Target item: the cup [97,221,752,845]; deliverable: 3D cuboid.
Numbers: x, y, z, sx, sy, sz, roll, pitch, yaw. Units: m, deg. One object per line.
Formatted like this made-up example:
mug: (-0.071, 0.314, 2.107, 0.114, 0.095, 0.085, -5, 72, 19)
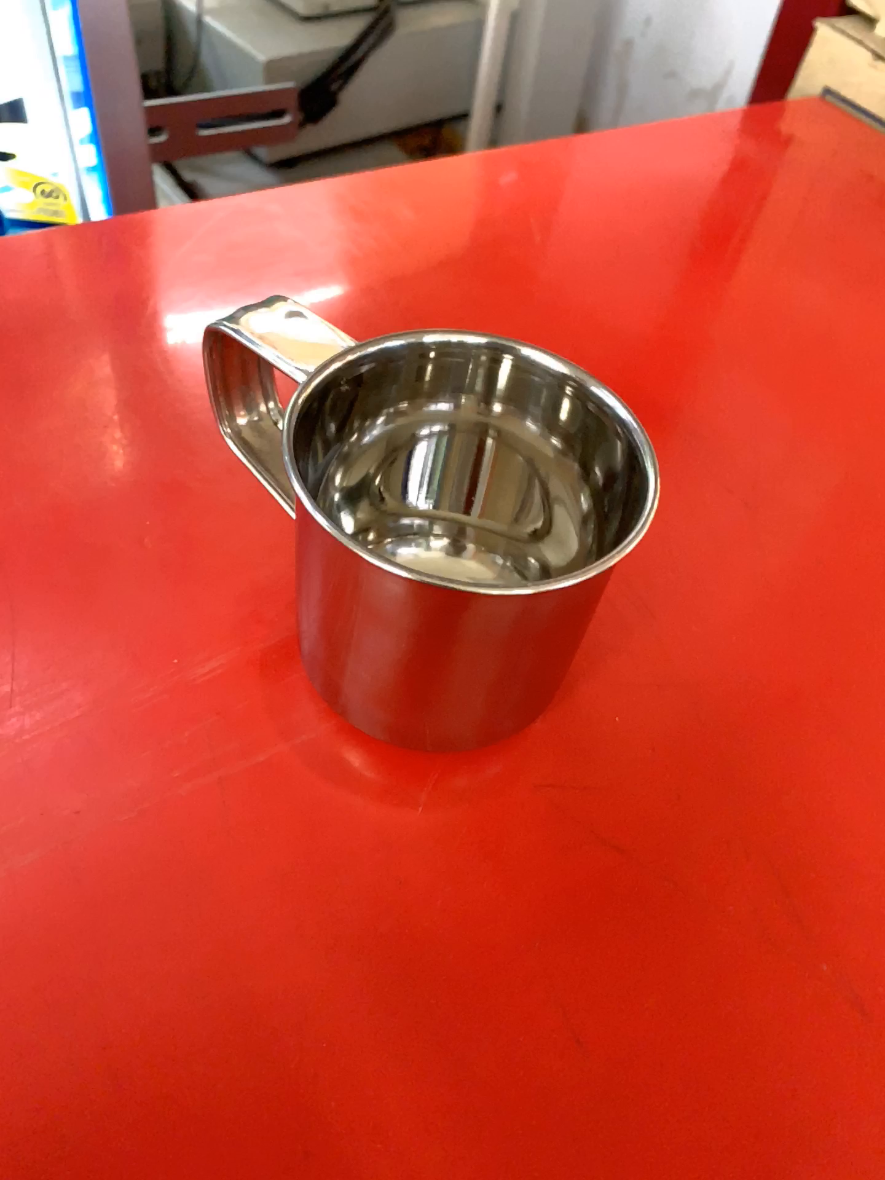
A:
cup: (-0.007, -0.019, 0.218, 0.110, 0.070, 0.080, 36, 54, 21)
